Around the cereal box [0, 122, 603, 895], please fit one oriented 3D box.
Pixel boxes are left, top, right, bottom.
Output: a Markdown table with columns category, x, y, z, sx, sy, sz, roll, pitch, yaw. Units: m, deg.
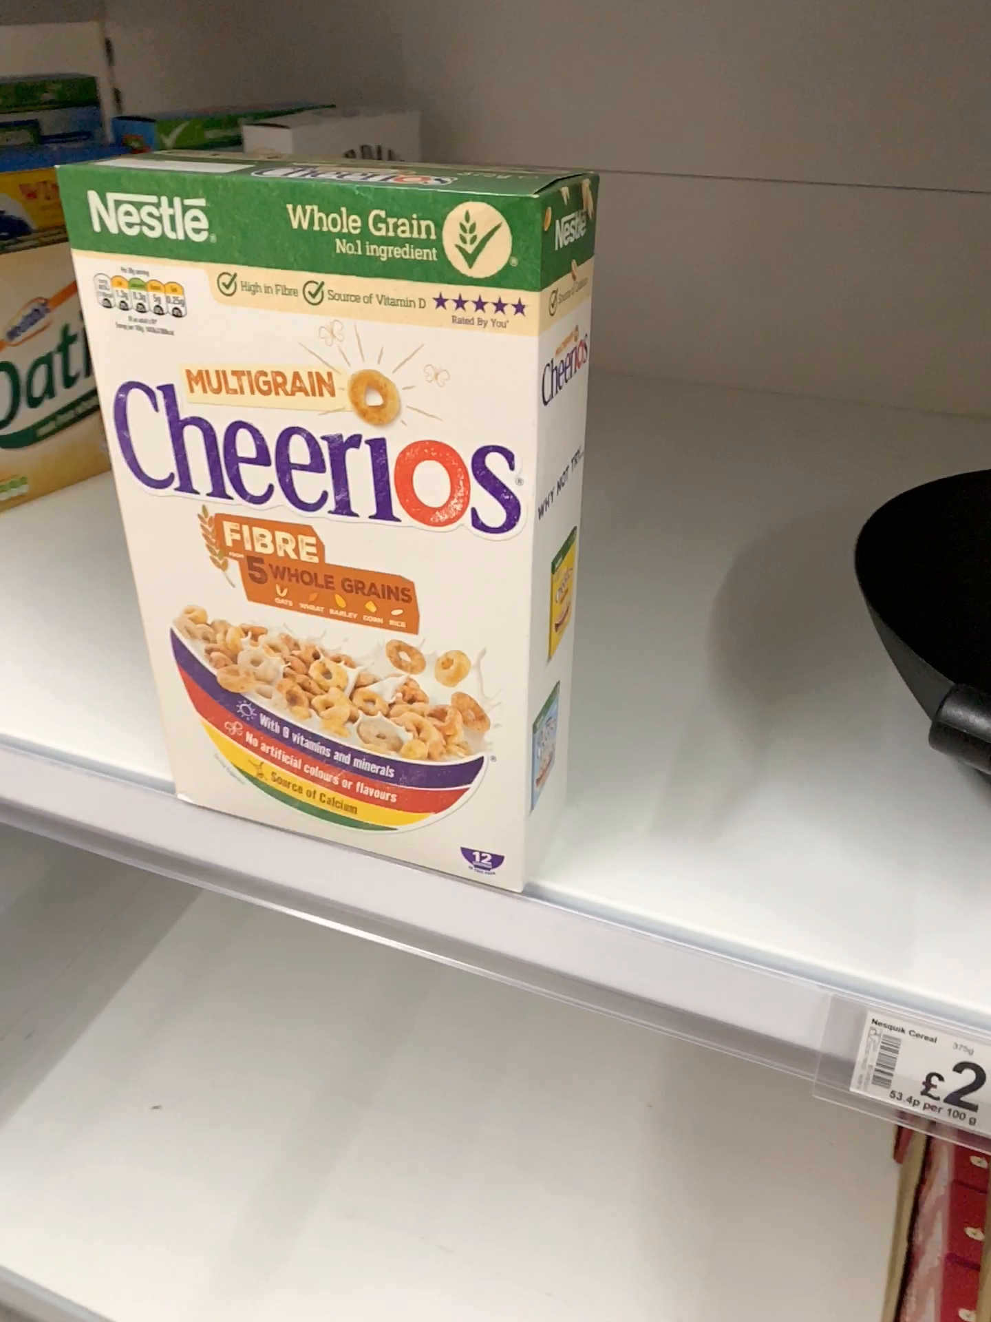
| category | x | y | z | sx | sy | sz | roll | pitch | yaw |
| --- | --- | --- | --- | --- | --- | --- | --- | --- | --- |
| cereal box | -0.071 | -0.059 | 0.428 | 0.200 | 0.287 | 0.071 | 11 | 31 | 17 |
